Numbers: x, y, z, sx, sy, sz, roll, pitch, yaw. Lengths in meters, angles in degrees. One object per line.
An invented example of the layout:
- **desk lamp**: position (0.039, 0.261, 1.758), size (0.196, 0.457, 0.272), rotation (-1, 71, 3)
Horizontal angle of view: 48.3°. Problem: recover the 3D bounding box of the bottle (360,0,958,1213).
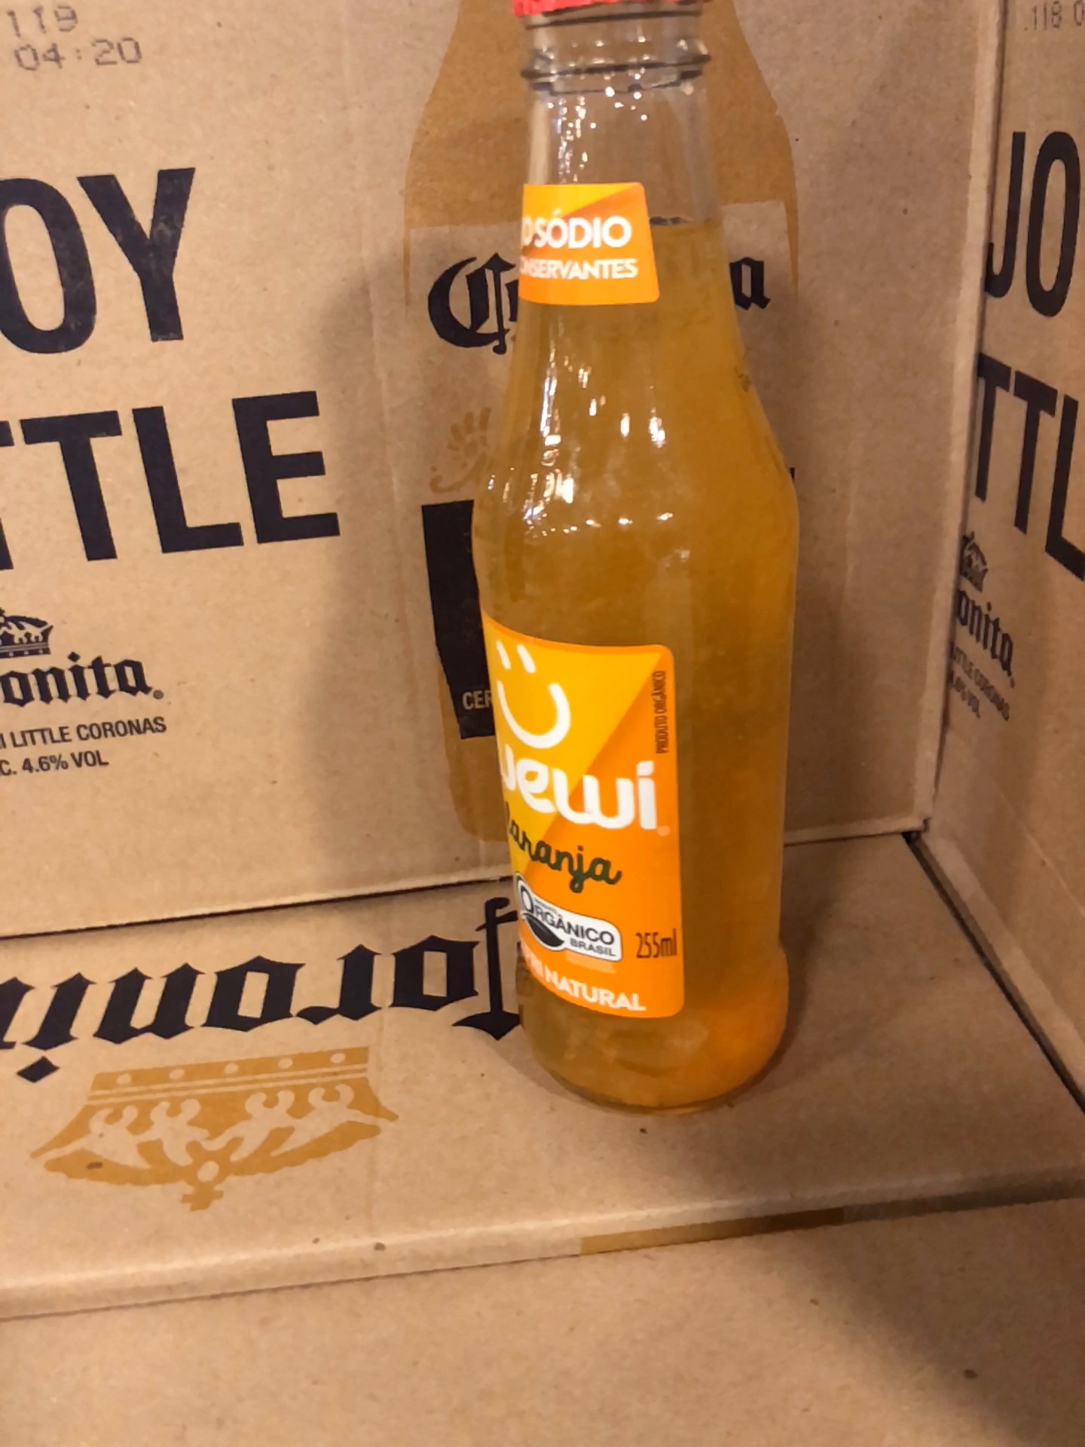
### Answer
- **bottle**: position (0.022, -0.020, 0.219), size (0.060, 0.208, 0.060), rotation (-3, 27, 1)
